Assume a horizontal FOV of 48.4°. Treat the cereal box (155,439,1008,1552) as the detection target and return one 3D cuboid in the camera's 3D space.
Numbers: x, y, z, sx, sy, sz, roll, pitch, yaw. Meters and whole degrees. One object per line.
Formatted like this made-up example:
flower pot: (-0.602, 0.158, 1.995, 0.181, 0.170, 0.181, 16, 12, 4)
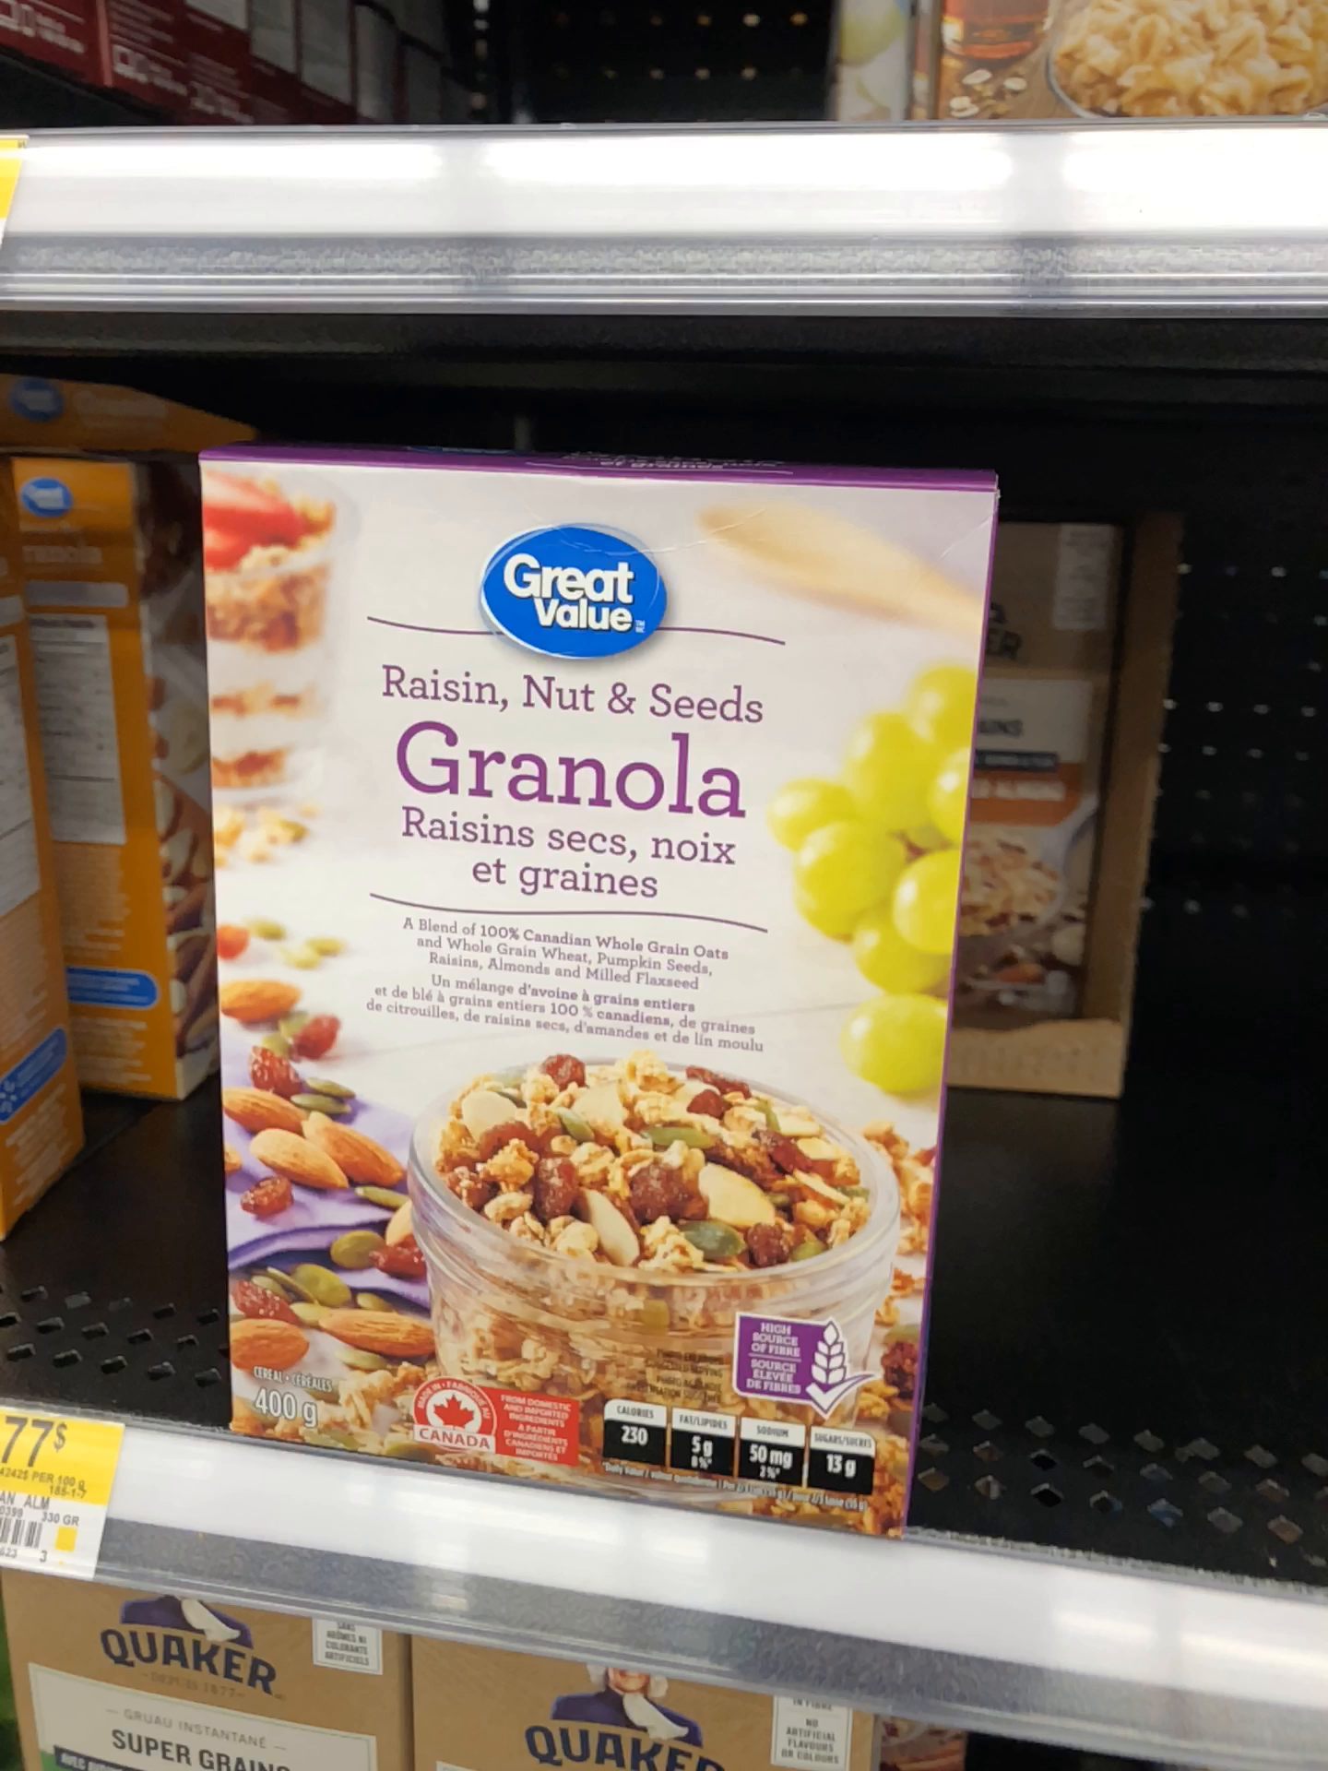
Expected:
cereal box: (-0.016, 0.019, 0.325, 0.160, 0.219, 0.060, 4, 14, 11)
